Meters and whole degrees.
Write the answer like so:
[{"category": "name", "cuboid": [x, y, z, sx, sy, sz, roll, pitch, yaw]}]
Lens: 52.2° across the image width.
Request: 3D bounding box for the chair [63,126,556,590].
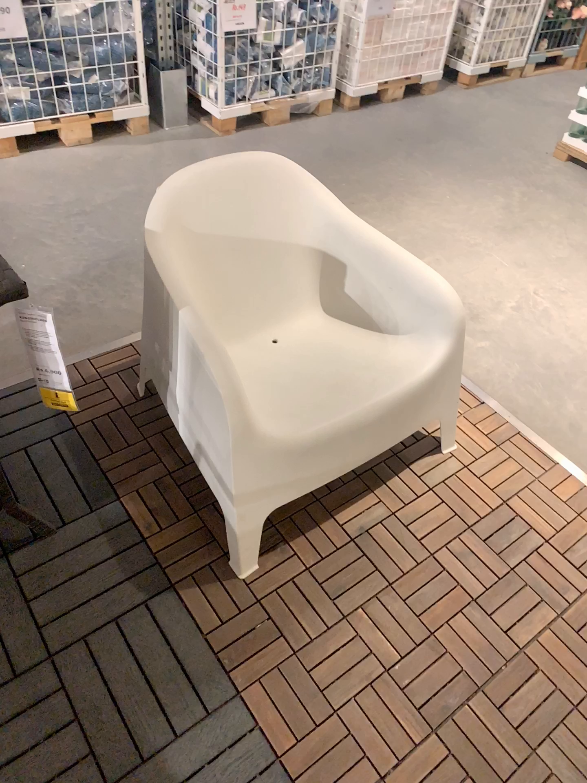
[{"category": "chair", "cuboid": [-0.004, -0.147, 1.521, 0.771, 0.638, 0.761, -24, 53, -28]}]
